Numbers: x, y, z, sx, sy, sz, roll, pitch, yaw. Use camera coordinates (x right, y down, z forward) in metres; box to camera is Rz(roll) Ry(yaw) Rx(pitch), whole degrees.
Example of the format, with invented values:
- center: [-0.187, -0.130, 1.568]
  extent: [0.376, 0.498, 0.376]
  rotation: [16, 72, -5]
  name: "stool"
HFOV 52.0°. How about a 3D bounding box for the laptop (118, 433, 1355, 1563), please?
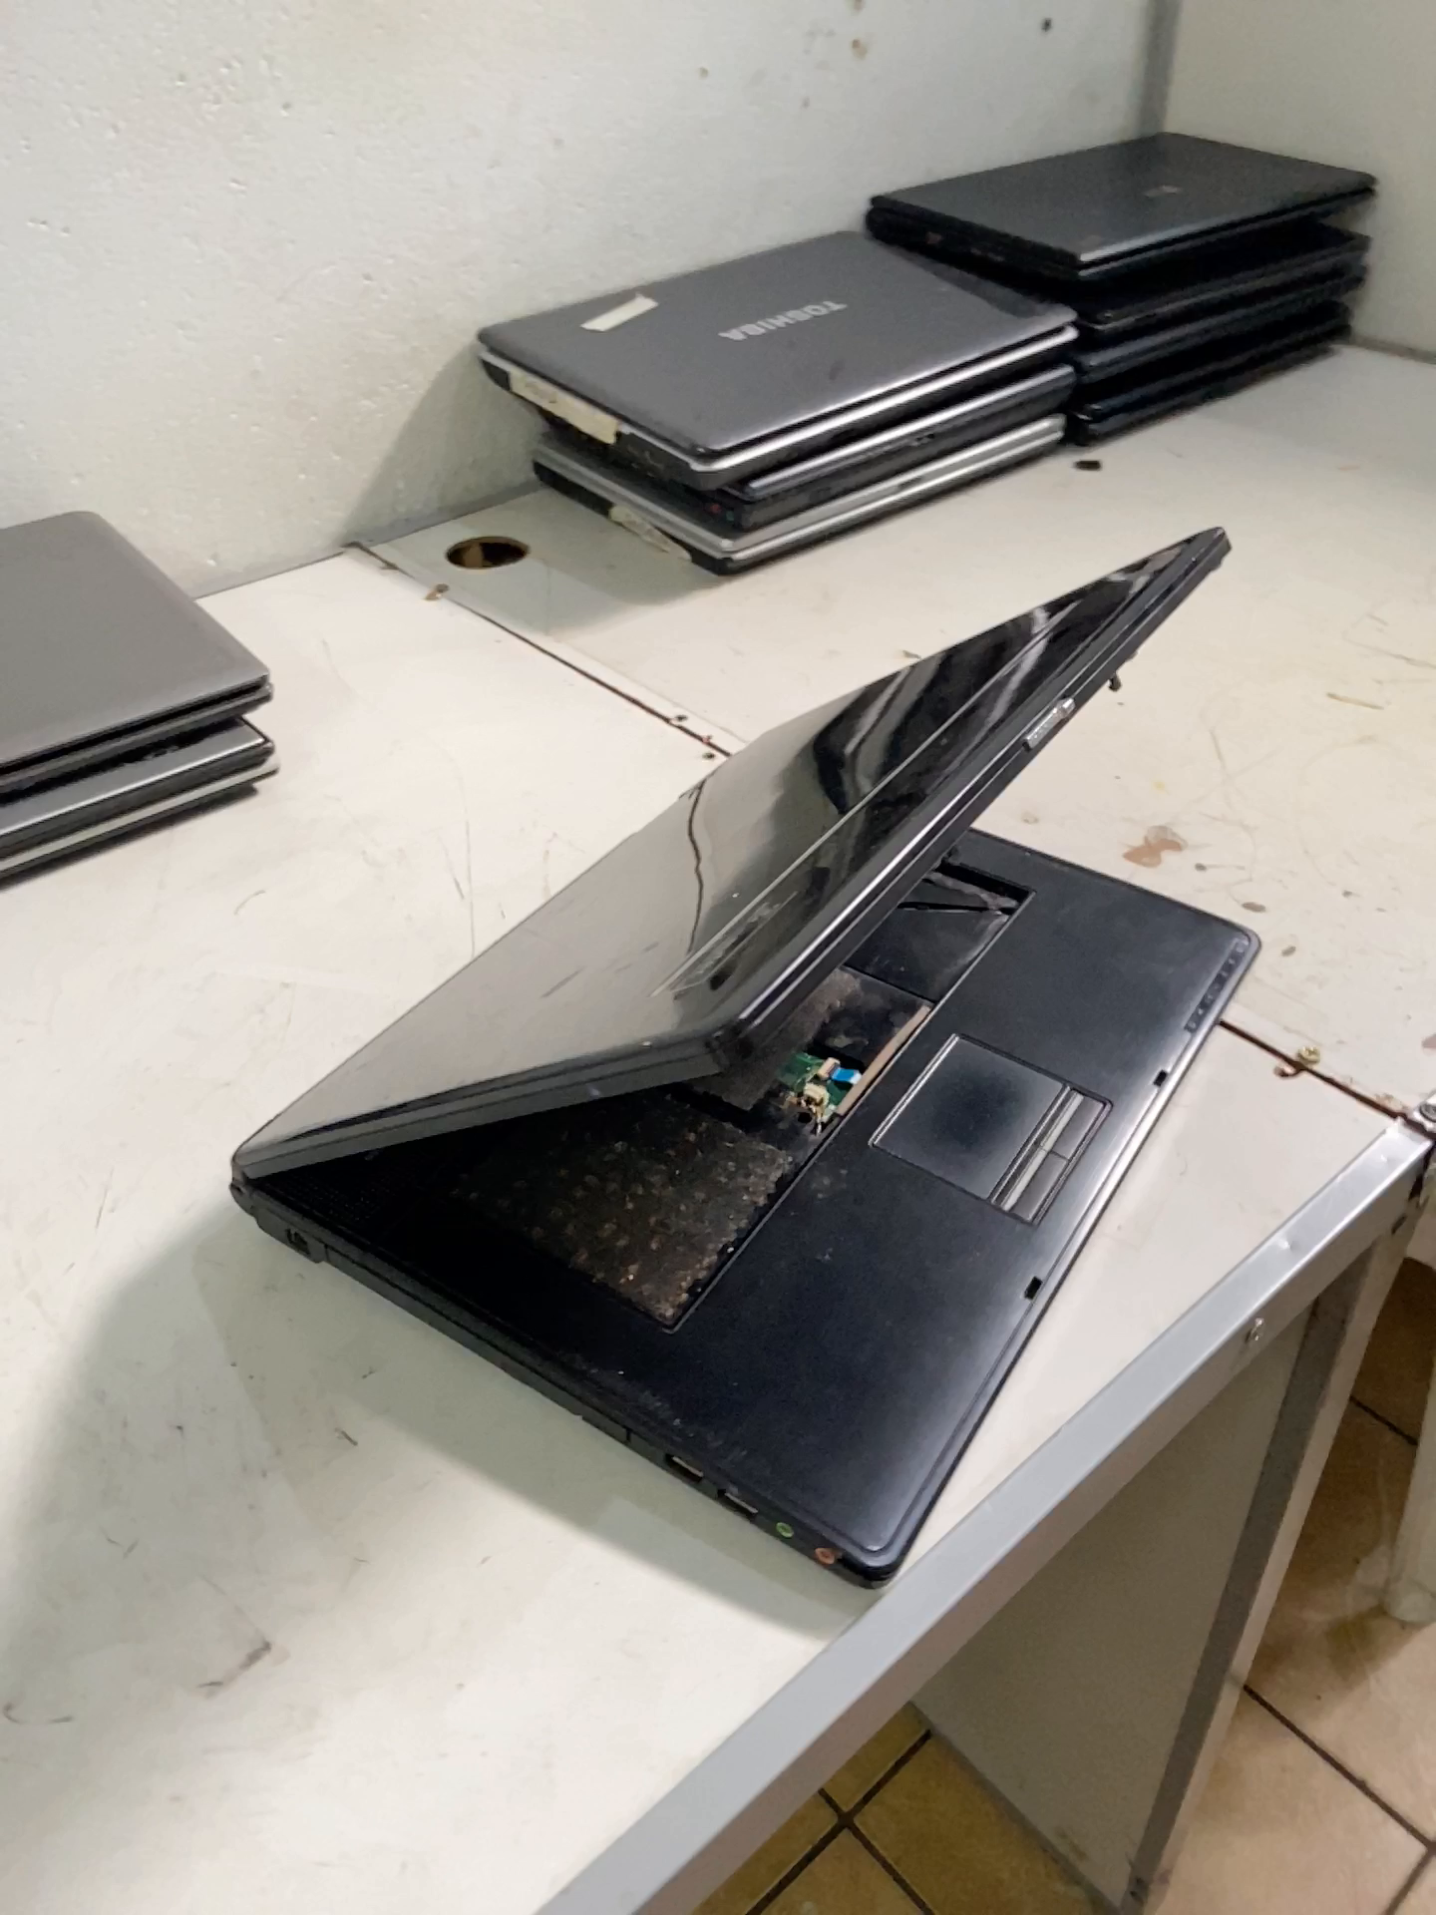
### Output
- center: [0.033, -0.031, 0.536]
  extent: [0.260, 0.164, 0.350]
  rotation: [23, 44, 25]
  name: "laptop"
